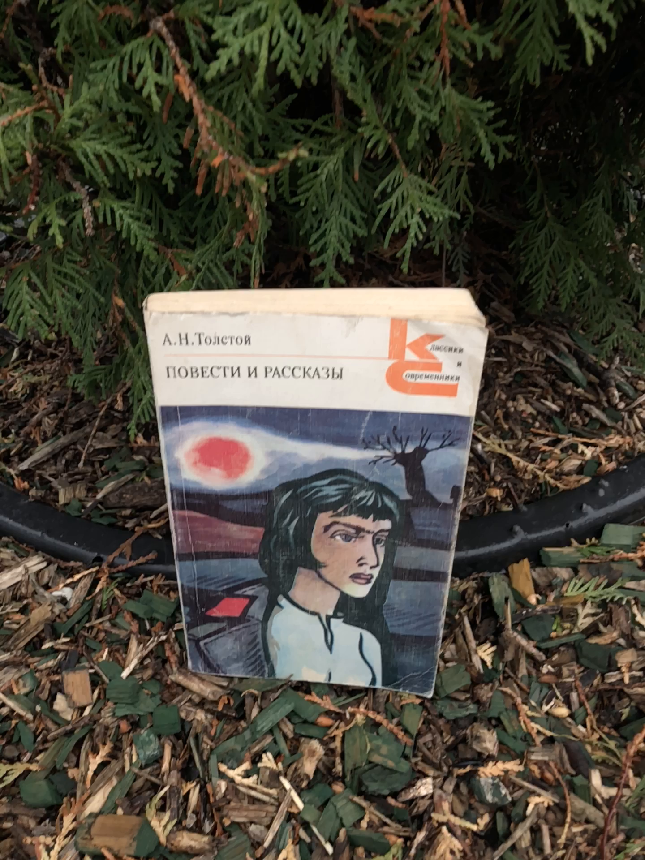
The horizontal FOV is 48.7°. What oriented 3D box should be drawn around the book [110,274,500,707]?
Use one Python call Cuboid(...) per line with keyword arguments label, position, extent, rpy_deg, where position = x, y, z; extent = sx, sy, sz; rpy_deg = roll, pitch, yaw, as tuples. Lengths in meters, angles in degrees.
Cuboid(label="book", position=(-0.003, 0.036, 0.307), extent=(0.130, 0.196, 0.041), rpy_deg=(3, 34, 6))
